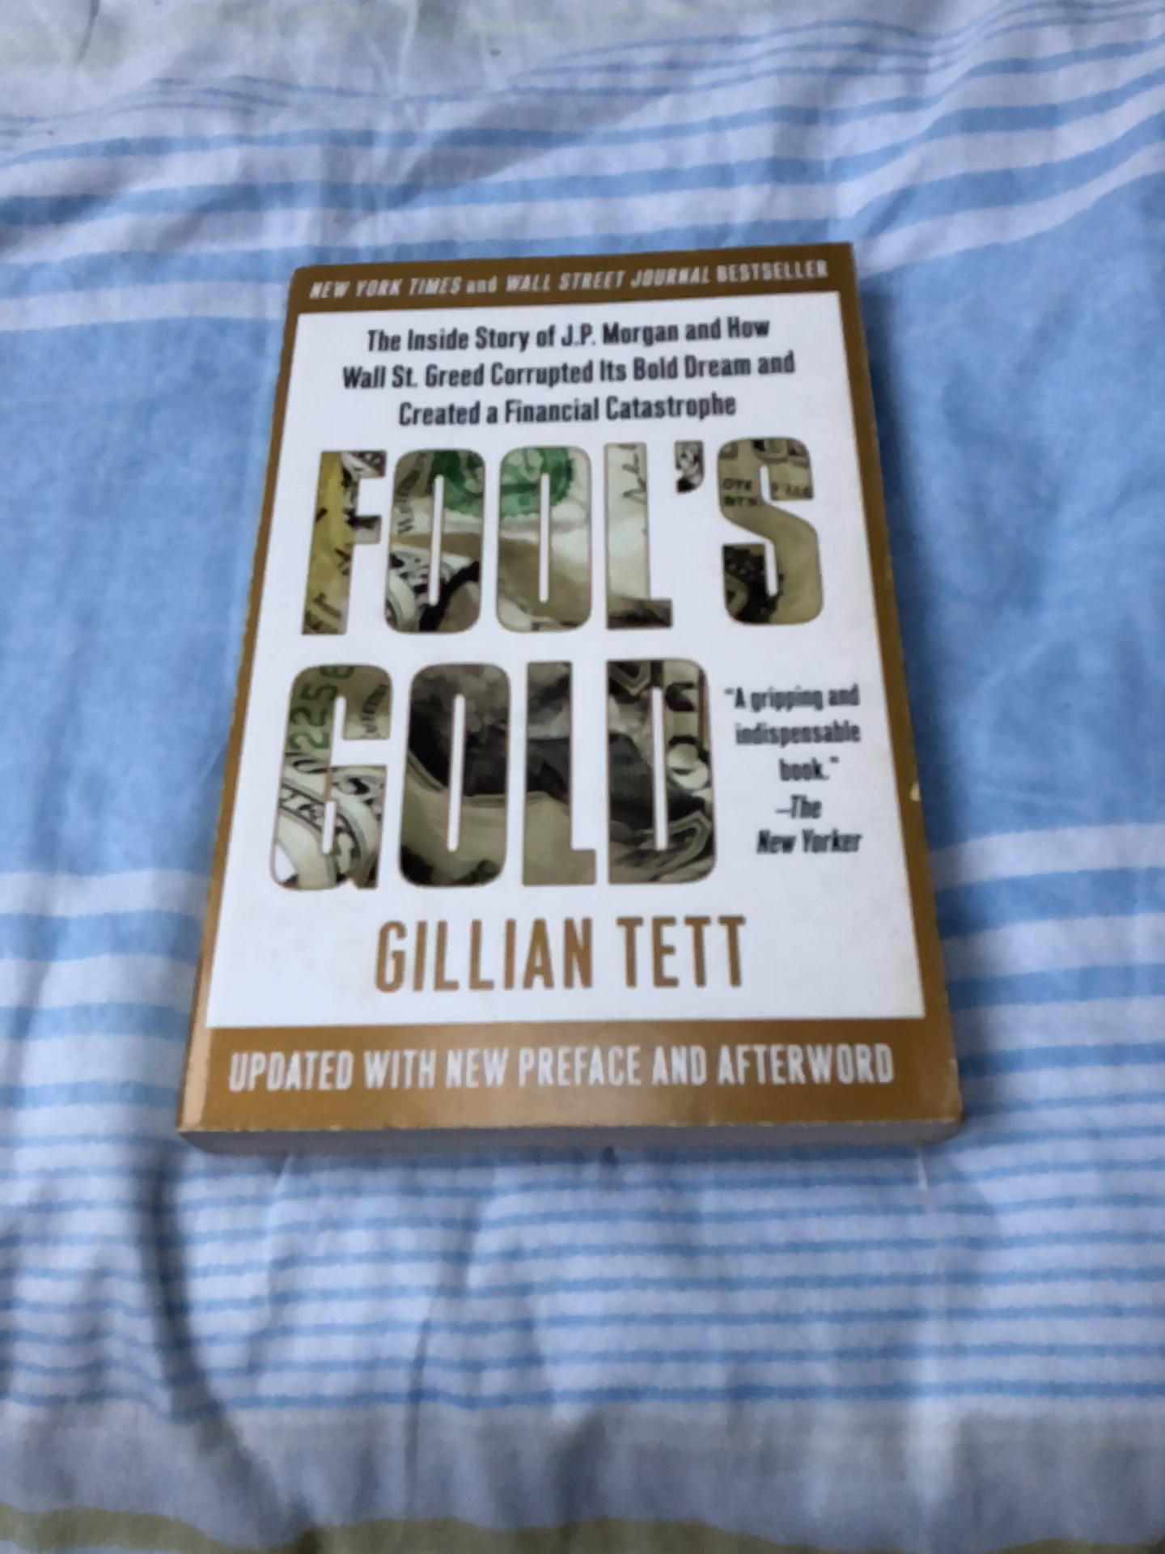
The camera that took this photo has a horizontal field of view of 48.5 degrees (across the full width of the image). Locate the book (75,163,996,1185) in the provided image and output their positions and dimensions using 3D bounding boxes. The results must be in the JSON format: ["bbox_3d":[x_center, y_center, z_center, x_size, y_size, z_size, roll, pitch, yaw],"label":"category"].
[{"bbox_3d":[-0.007,-0.035,0.281,0.150,0.040,0.230,-1,62,3],"label":"book"}]
